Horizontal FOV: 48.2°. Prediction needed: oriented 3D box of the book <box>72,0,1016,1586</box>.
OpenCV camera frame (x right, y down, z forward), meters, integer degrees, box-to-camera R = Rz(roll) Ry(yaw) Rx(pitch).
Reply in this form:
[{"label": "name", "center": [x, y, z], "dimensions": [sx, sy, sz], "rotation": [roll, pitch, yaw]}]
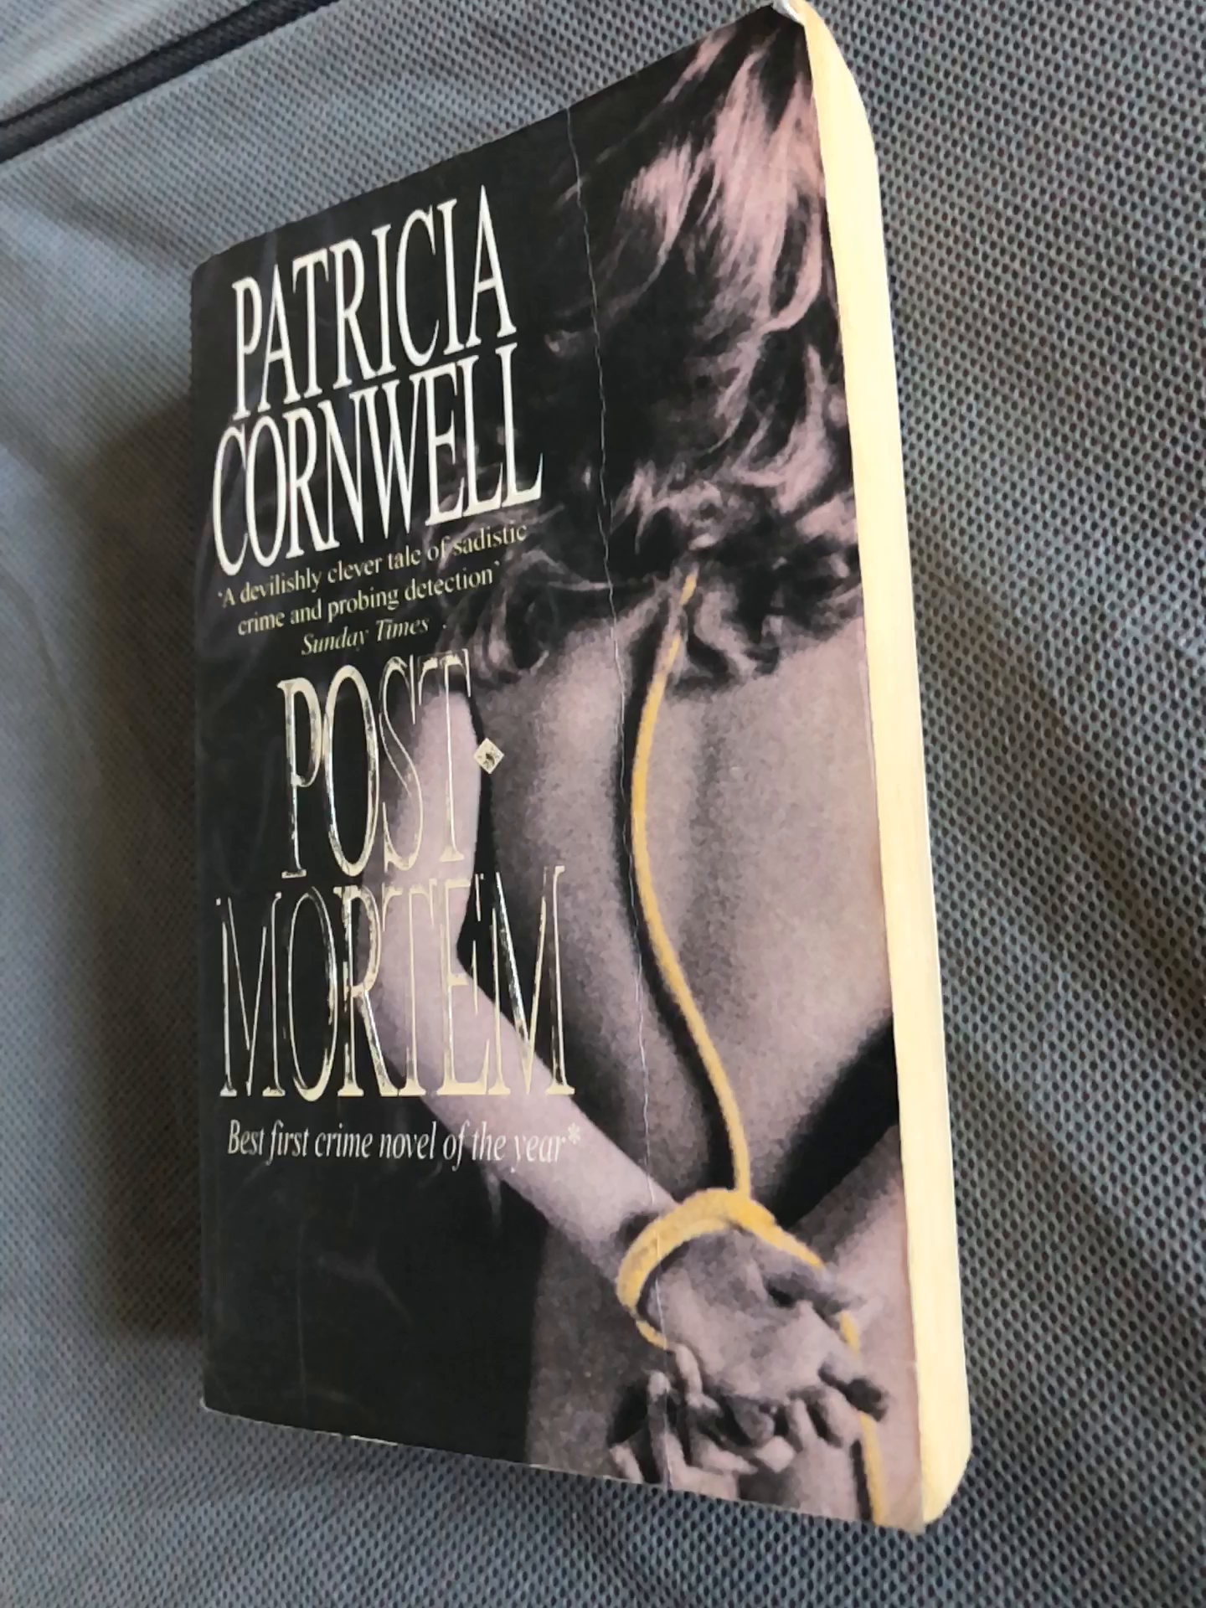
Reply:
[{"label": "book", "center": [-0.012, -0.008, 0.186], "dimensions": [0.110, 0.050, 0.180], "rotation": [-6, 80, 27]}]
